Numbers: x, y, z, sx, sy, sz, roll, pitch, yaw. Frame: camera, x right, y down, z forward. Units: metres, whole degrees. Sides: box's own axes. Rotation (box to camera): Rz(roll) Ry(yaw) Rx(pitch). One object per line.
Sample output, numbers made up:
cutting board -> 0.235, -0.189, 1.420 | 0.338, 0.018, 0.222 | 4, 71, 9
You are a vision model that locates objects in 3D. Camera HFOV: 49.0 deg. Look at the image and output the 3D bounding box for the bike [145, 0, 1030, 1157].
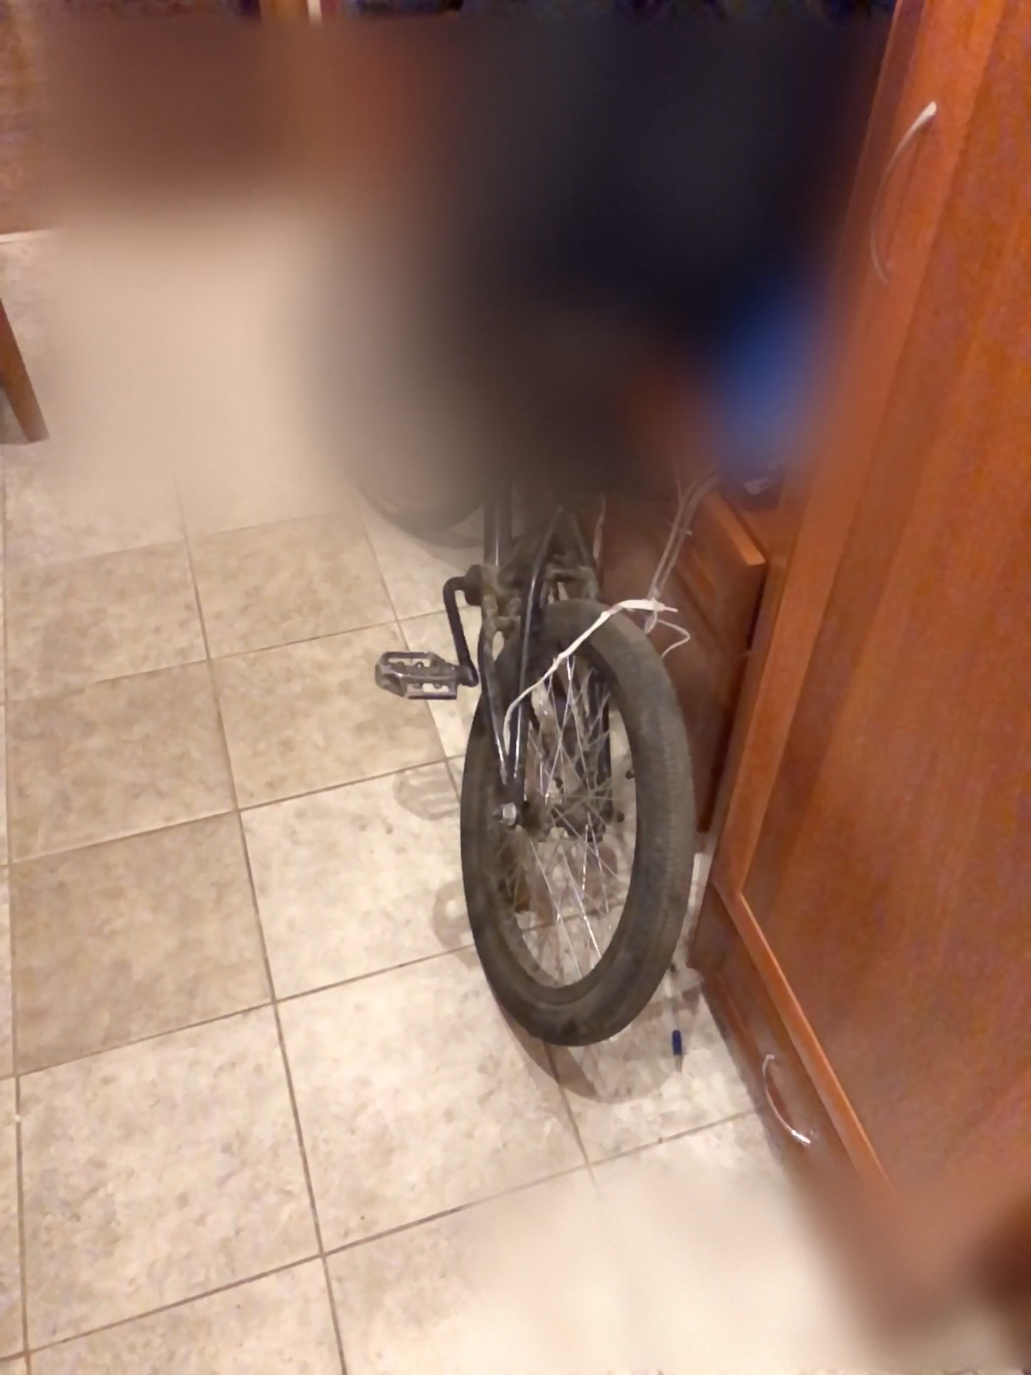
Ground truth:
bike -> -0.029, -0.327, 1.366 | 0.526, 0.853, 1.359 | -11, 51, -10
